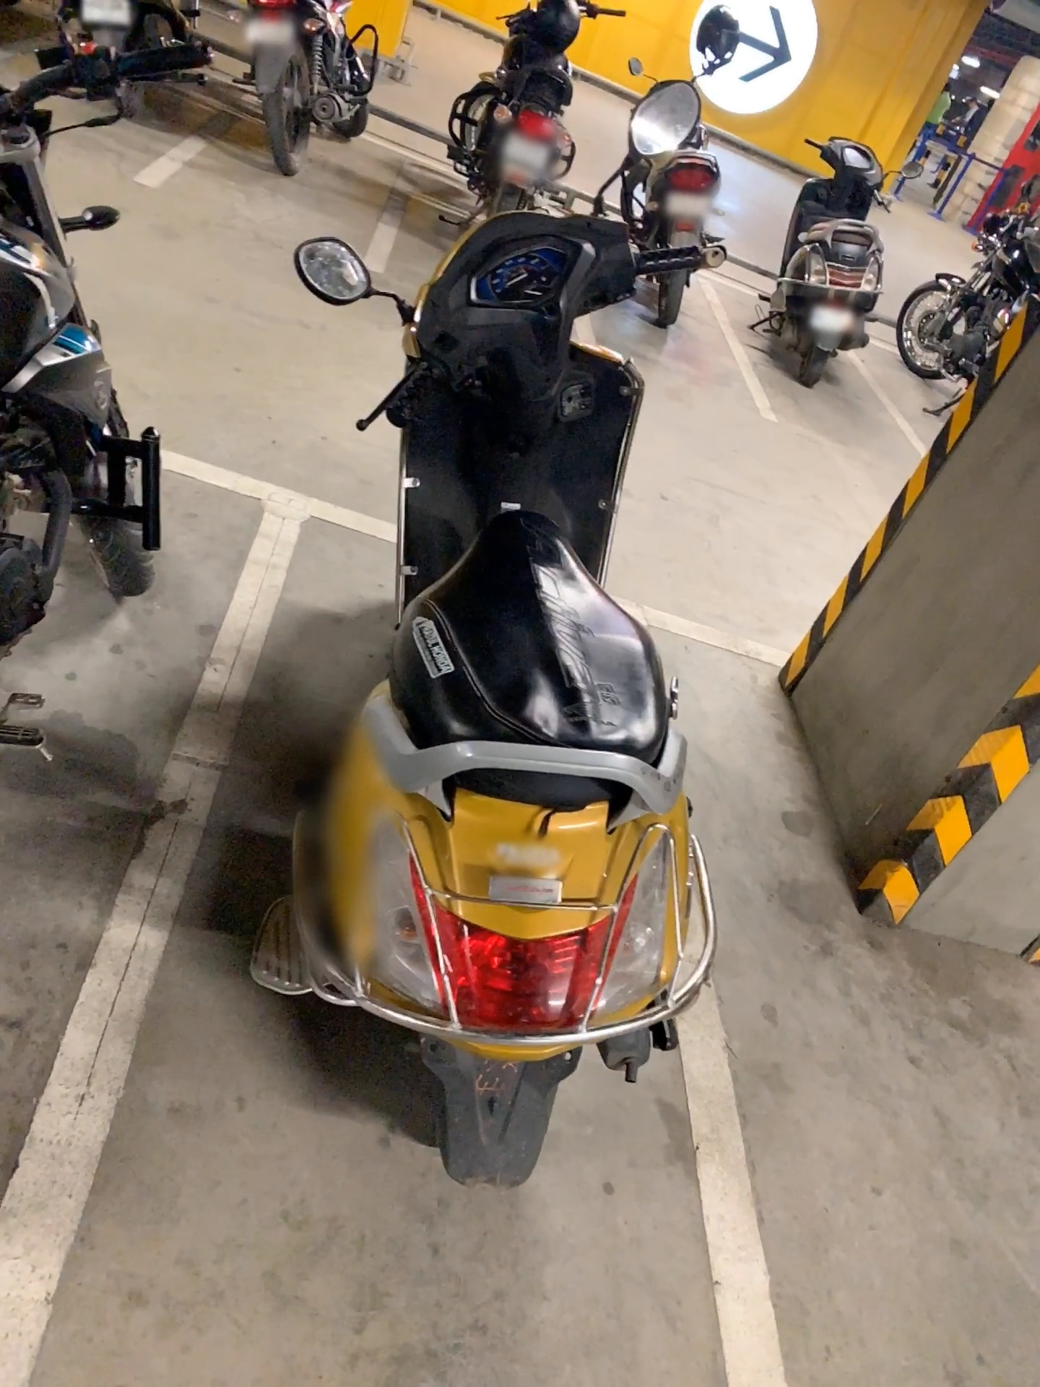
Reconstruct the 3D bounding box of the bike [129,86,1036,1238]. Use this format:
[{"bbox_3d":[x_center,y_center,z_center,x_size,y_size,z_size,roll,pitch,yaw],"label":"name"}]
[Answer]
[{"bbox_3d":[-0.120,-0.178,1.649,0.568,0.993,1.528,13,35,-18],"label":"bike"}]
